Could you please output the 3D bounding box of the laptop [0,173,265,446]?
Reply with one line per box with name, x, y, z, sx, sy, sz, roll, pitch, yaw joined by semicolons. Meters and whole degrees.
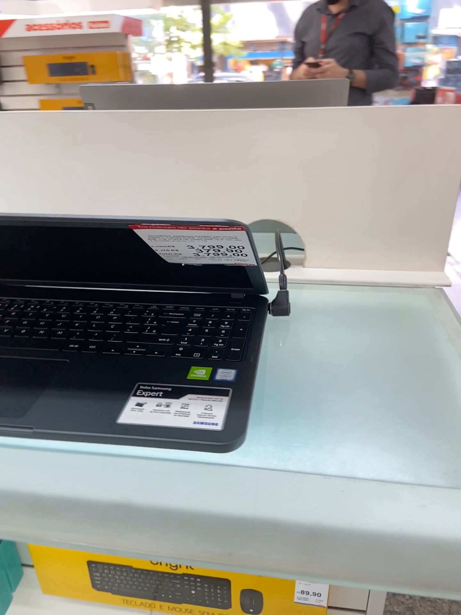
laptop;-0.165;-0.027;0.435;0.376;0.140;0.240;2;27;8
